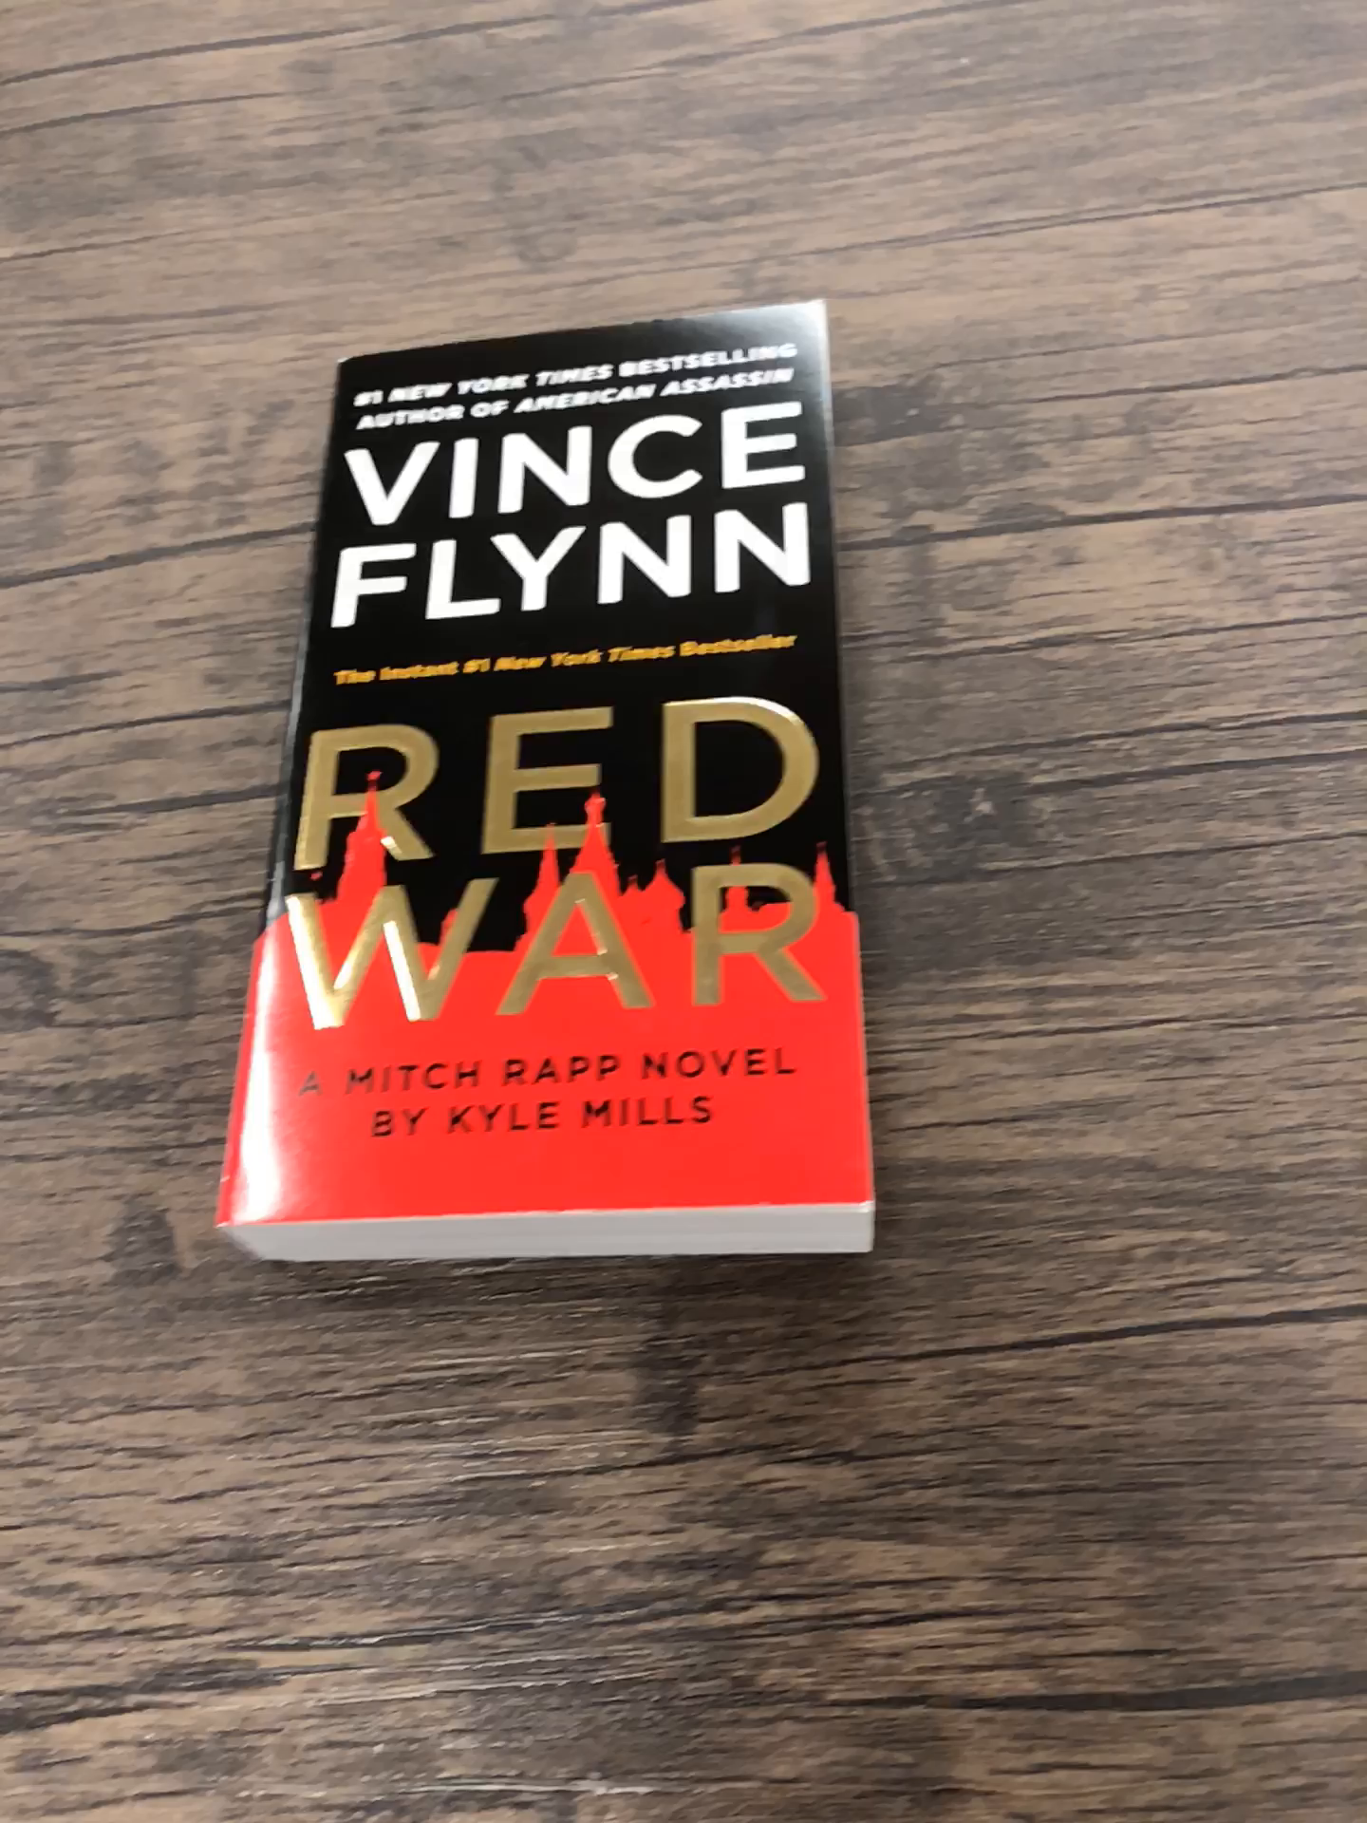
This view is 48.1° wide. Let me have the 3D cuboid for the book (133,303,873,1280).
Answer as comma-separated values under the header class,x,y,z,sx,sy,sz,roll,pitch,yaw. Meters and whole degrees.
class,x,y,z,sx,sy,sz,roll,pitch,yaw
book,-0.027,-0.030,0.280,0.110,0.030,0.183,-4,62,6
